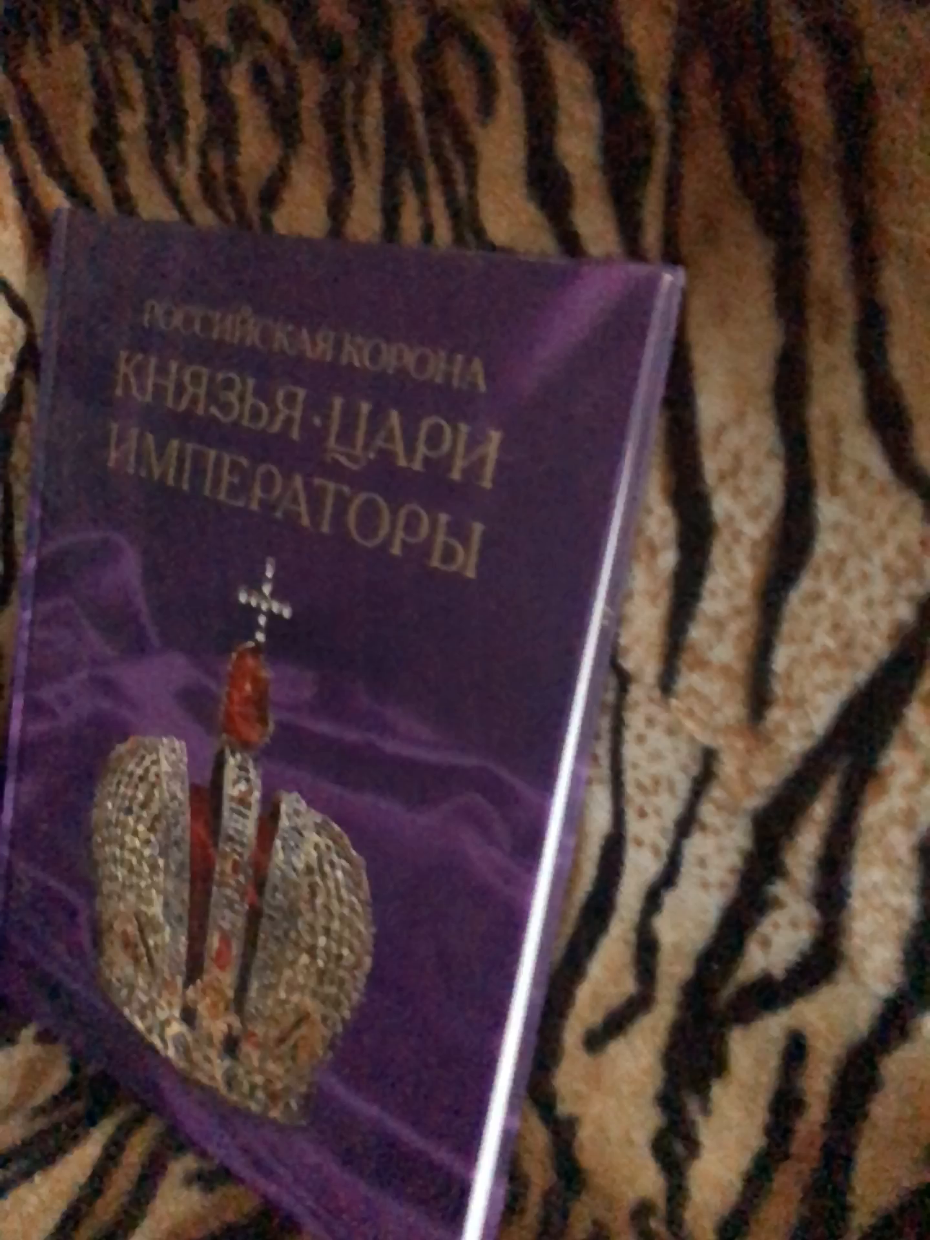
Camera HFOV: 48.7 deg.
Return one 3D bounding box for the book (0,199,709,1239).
[{"bbox_3d":[-0.067,0.027,0.314,0.223,0.279,0.035,18,14,32],"label":"book"}]
